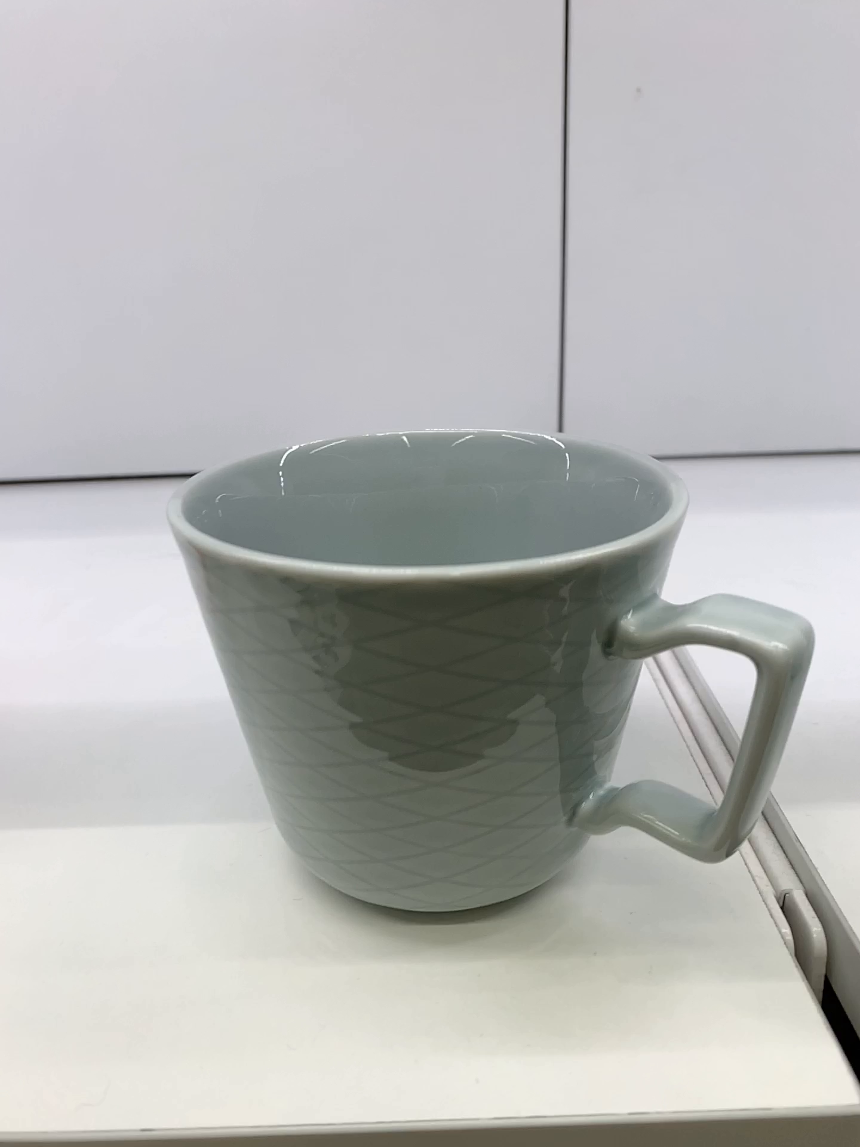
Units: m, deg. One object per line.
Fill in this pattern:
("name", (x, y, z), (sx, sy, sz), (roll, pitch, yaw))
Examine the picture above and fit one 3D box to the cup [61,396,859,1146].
("cup", (0.013, 0.019, 0.192), (0.124, 0.088, 0.109), (12, 24, 33))
